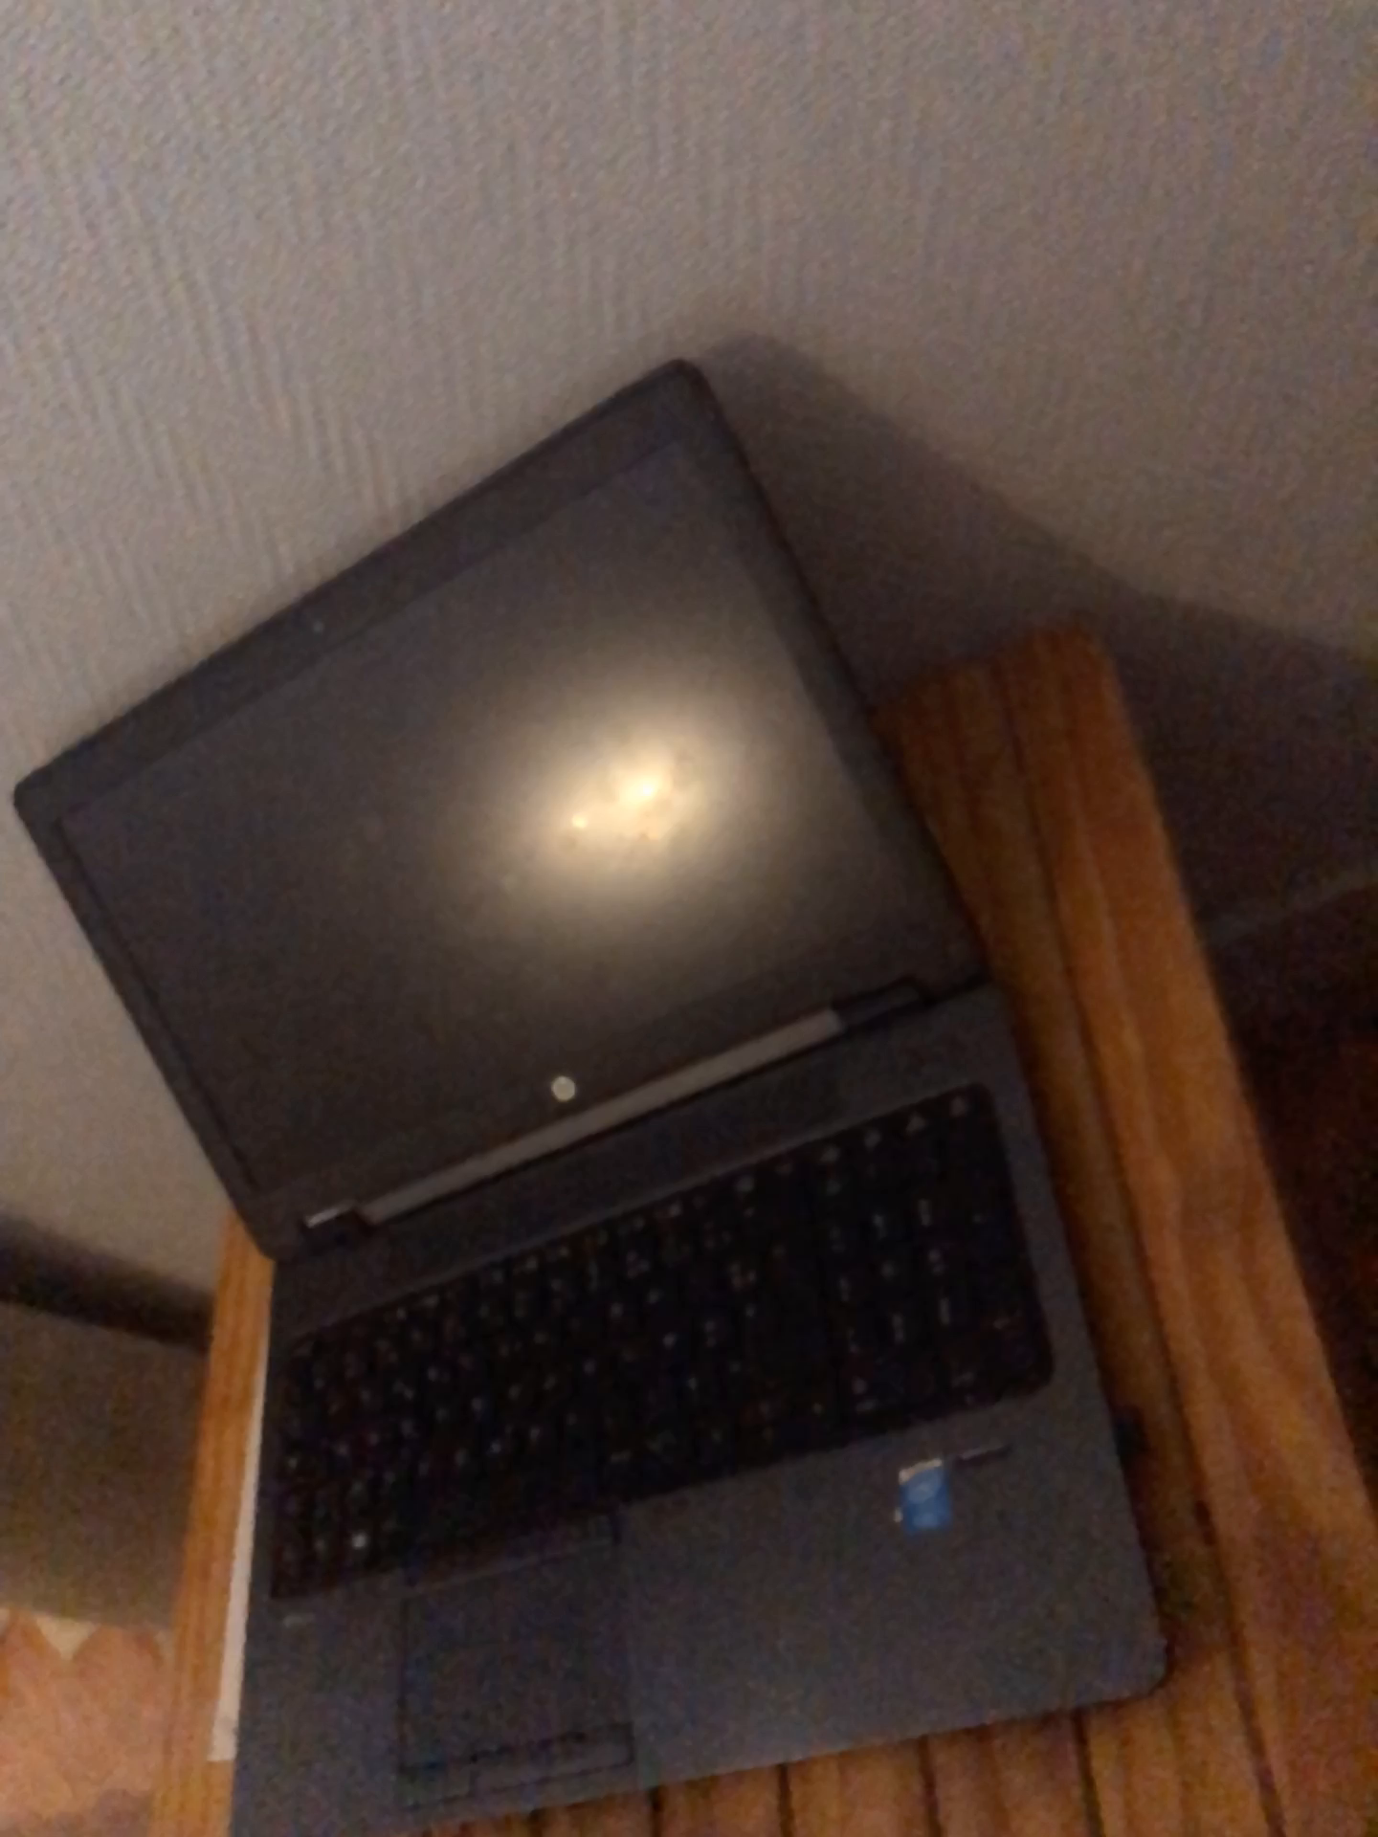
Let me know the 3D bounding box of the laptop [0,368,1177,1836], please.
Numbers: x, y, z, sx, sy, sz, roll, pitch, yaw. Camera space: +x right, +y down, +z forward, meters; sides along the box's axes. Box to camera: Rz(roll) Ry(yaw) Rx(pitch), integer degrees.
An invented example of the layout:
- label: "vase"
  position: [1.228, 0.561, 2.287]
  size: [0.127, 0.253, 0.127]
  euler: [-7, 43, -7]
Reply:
- label: "laptop"
  position: [-0.087, 0.083, 0.583]
  size: [0.382, 0.195, 0.411]
  euler: [-25, 49, 24]
